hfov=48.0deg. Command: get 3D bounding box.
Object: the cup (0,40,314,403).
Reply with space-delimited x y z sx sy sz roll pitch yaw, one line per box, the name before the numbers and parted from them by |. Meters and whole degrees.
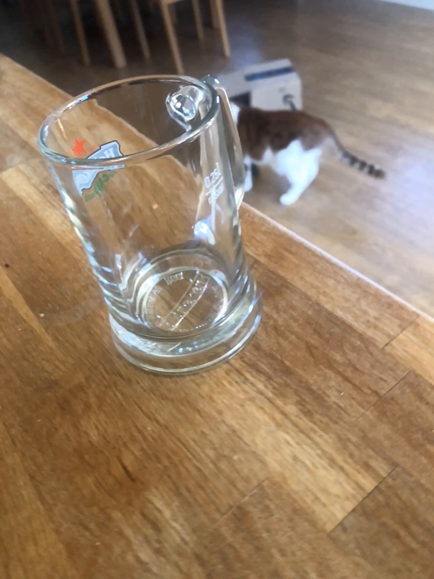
cup | -0.019 -0.037 0.234 0.091 0.110 0.115 17 53 26
